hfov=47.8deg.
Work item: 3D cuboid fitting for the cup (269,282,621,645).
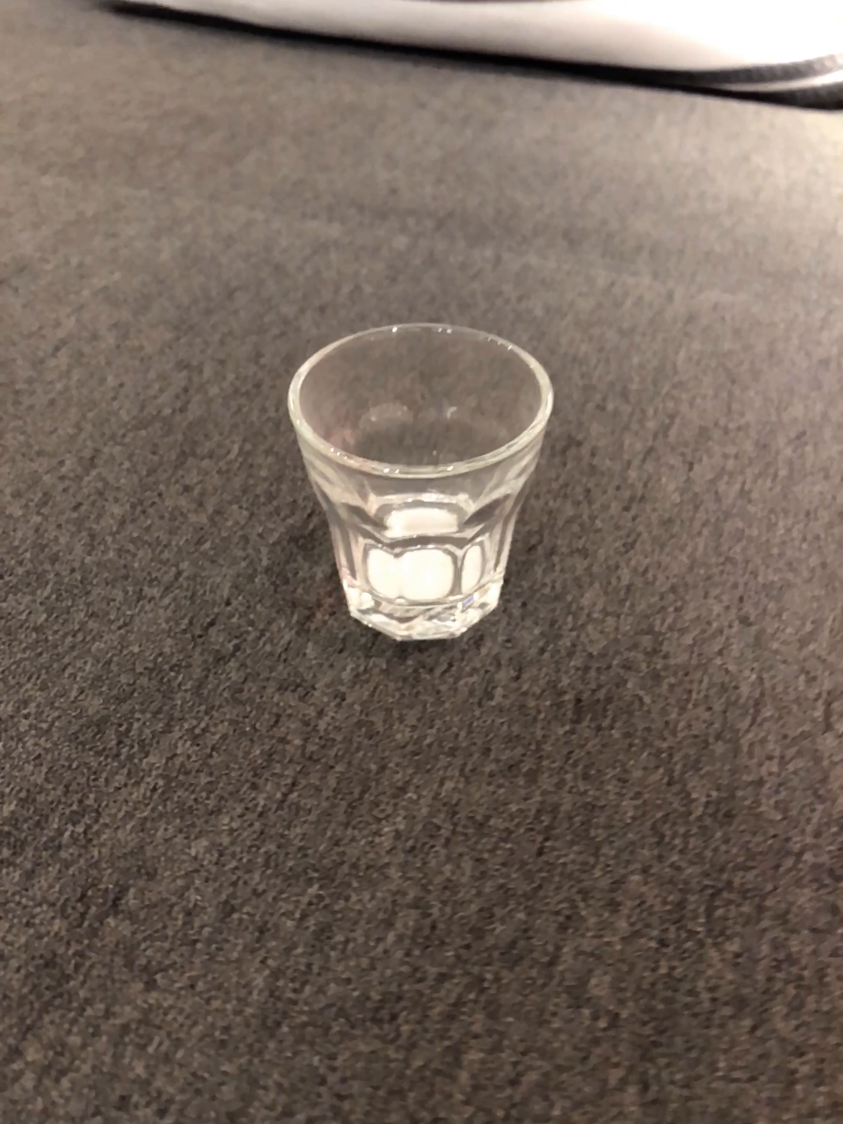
[{"bbox_3d":[0.002,-0.022,0.201,0.060,0.050,0.060,1,41,-1],"label":"cup"}]
